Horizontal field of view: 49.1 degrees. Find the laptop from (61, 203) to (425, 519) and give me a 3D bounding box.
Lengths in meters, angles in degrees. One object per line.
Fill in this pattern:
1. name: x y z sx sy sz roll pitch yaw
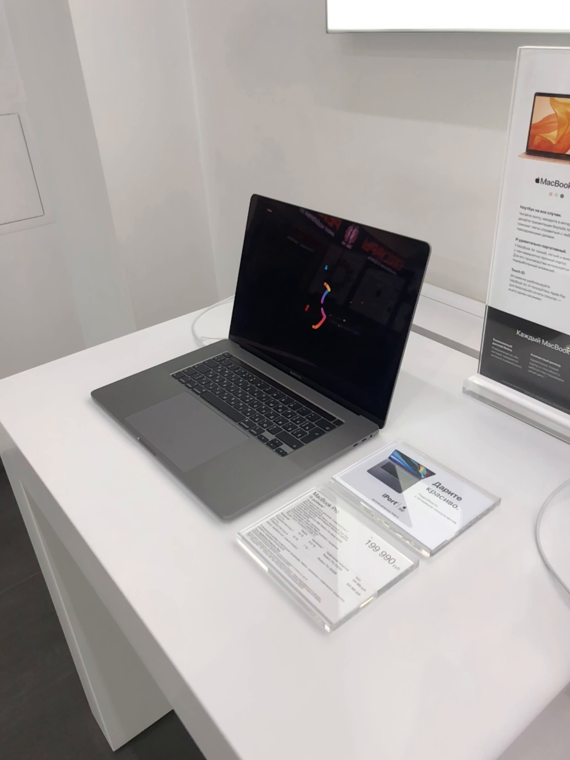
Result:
1. laptop: -0.054 -0.061 0.808 0.310 0.209 0.329 -26 37 -31
